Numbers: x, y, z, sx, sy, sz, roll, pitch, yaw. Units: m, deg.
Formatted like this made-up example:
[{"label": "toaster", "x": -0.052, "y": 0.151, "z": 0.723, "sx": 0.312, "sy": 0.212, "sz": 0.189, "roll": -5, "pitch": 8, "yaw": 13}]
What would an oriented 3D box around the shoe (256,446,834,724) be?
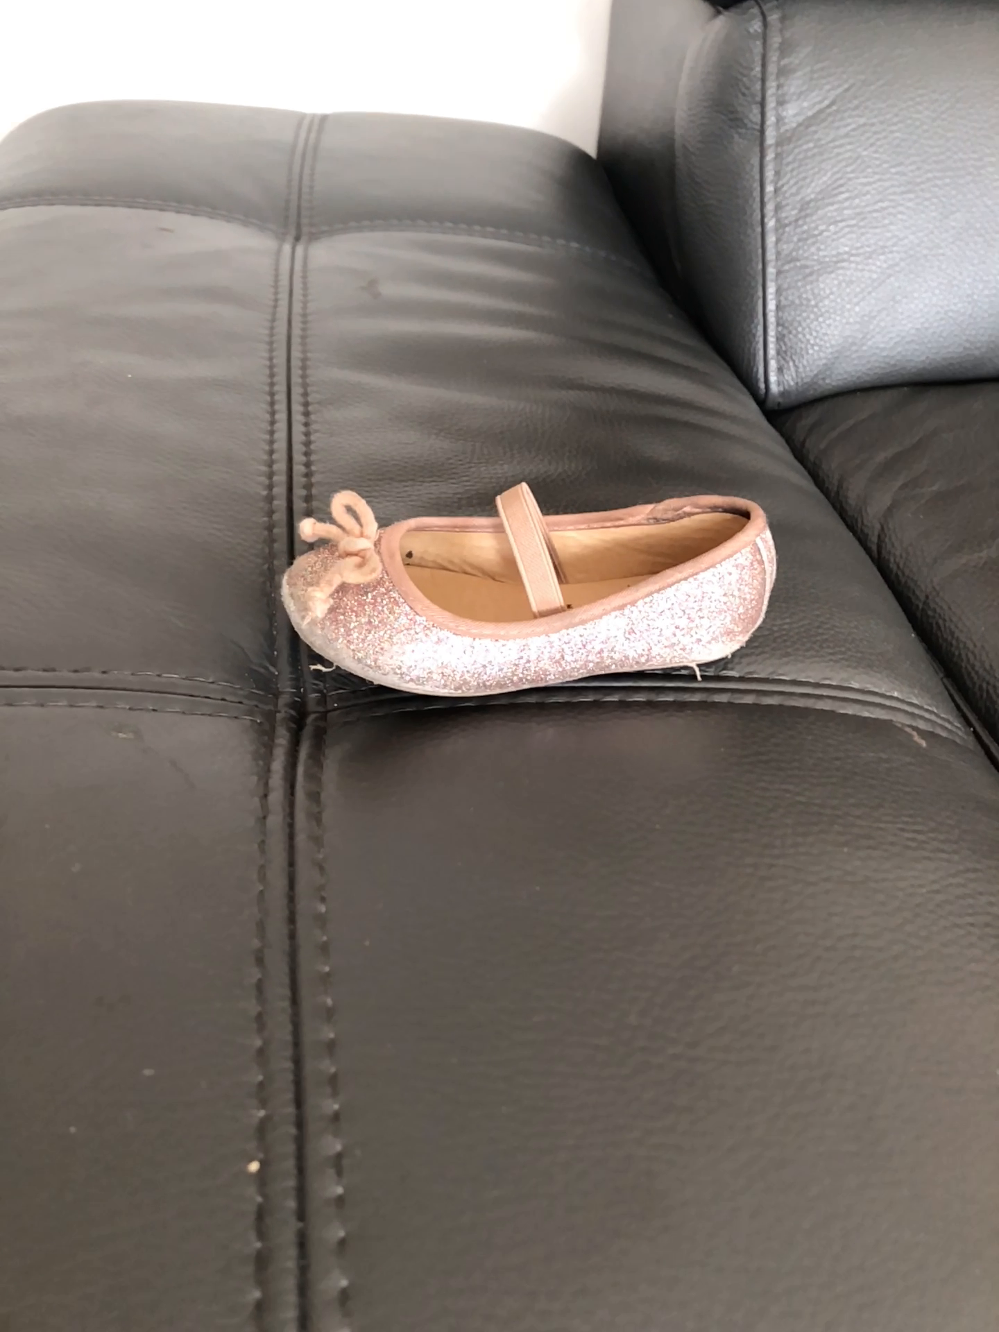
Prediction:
[{"label": "shoe", "x": 0.009, "y": -0.028, "z": 0.337, "sx": 0.160, "sy": 0.040, "sz": 0.070, "roll": -5, "pitch": 41, "yaw": -10}]
